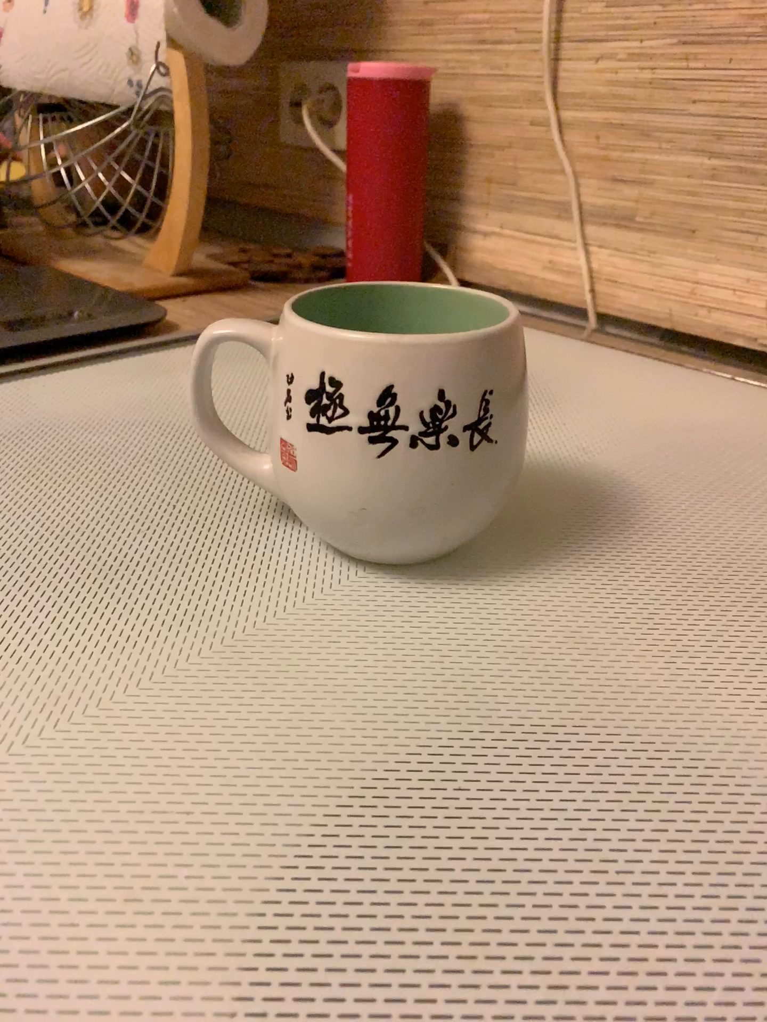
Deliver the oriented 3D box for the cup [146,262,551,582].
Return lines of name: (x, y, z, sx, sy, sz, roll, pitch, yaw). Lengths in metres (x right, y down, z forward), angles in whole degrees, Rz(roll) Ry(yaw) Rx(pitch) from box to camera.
cup: (-0.014, -0.037, 0.303, 0.124, 0.091, 0.088, 2, 27, -3)
